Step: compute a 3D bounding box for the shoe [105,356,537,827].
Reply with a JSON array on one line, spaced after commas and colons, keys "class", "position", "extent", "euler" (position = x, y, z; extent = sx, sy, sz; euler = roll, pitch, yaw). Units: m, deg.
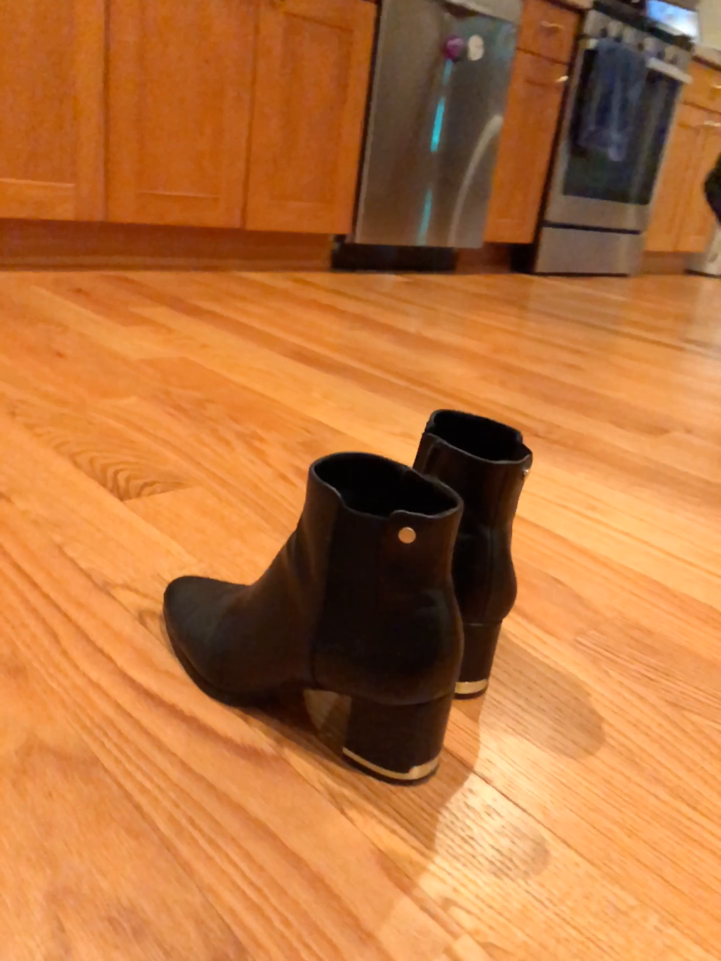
[{"class": "shoe", "position": [-0.040, 0.044, 0.469], "extent": [0.236, 0.175, 0.095], "euler": [23, 26, 35]}]

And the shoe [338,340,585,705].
[{"class": "shoe", "position": [0.053, 0.014, 0.577], "extent": [0.095, 0.175, 0.237], "euler": [4, 21, -10]}]
